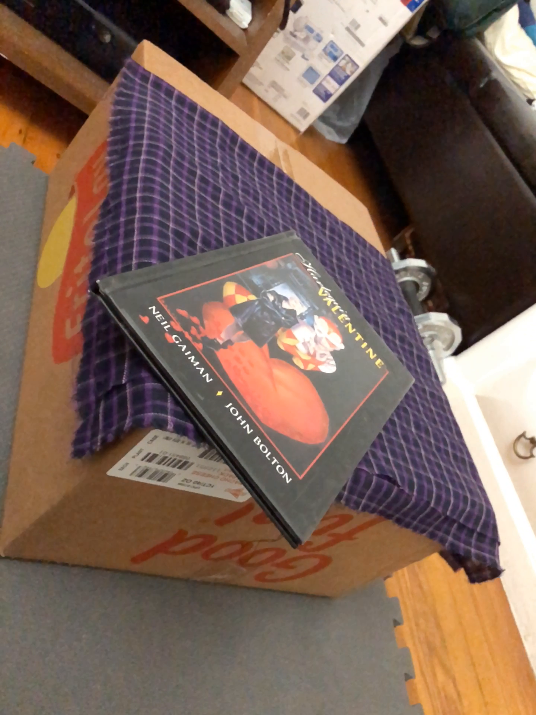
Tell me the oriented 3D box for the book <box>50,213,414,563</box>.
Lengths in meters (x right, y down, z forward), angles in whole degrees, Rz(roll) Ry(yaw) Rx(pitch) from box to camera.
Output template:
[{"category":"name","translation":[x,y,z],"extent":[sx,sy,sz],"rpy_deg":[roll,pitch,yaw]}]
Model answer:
[{"category":"book","translation":[0.010,-0.014,0.416],"extent":[0.180,0.020,0.282],"rpy_deg":[51,30,2]}]
